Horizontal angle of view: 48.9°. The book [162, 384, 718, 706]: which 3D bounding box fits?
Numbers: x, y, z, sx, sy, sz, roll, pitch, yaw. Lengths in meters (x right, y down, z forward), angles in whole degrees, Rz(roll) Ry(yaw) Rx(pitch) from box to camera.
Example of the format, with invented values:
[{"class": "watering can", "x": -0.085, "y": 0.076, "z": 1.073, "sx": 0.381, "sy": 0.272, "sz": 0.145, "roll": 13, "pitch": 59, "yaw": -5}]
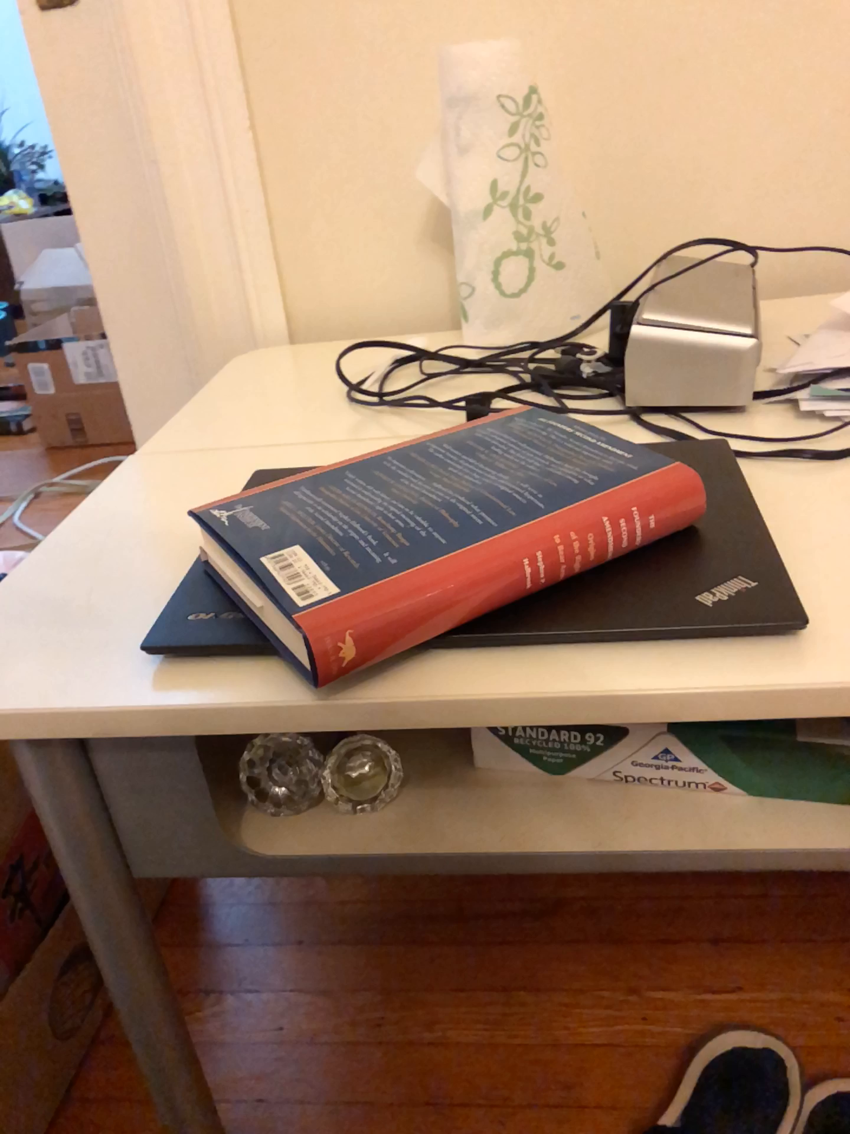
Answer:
[{"class": "book", "x": 0.004, "y": -0.030, "z": 0.497, "sx": 0.240, "sy": 0.040, "sz": 0.171, "roll": -23, "pitch": 30, "yaw": -23}]
